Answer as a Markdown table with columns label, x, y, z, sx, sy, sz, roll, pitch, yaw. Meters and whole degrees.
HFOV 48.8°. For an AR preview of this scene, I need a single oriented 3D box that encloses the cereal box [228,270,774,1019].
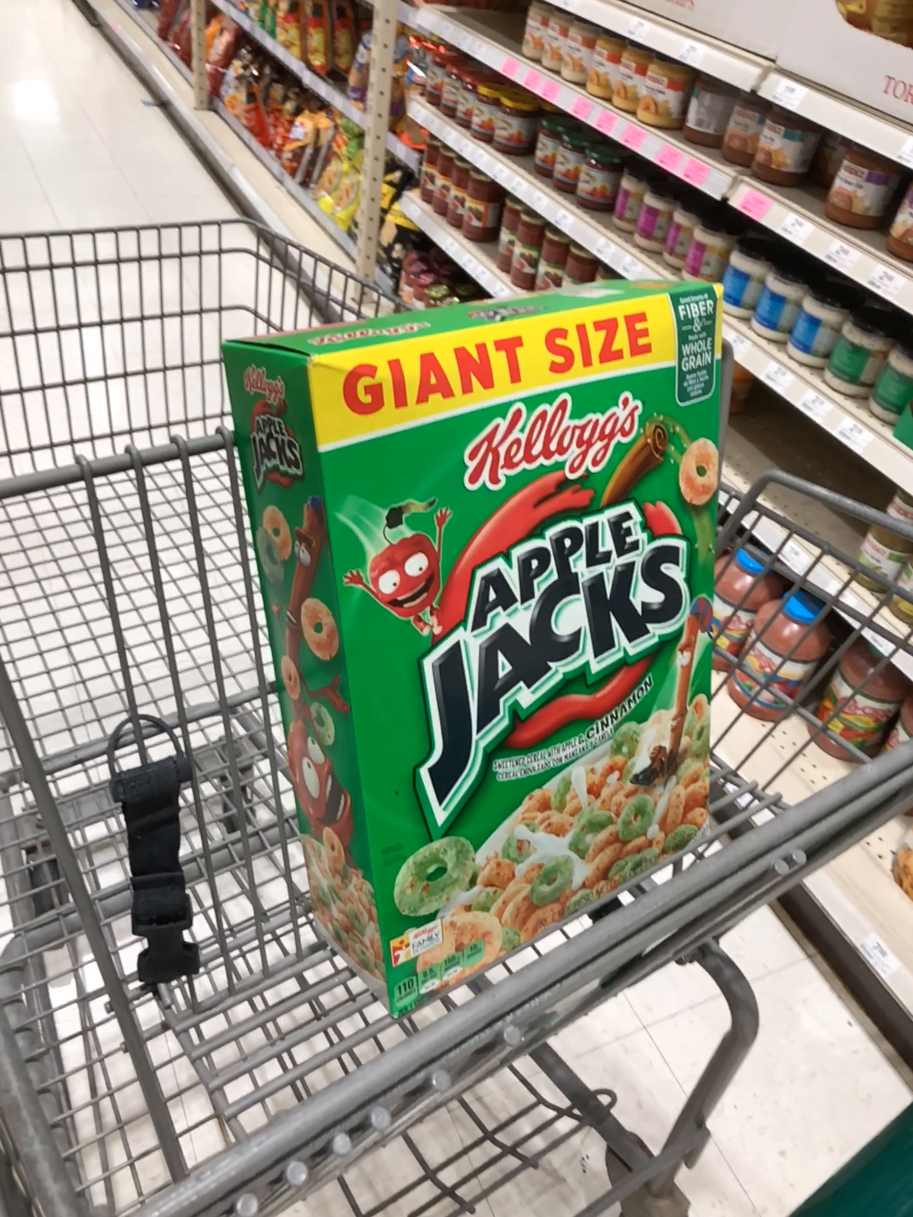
| label | x | y | z | sx | sy | sz | roll | pitch | yaw |
| --- | --- | --- | --- | --- | --- | --- | --- | --- | --- |
| cereal box | 0.041 | 0.005 | 0.527 | 0.250 | 0.319 | 0.090 | -19 | 27 | -31 |
